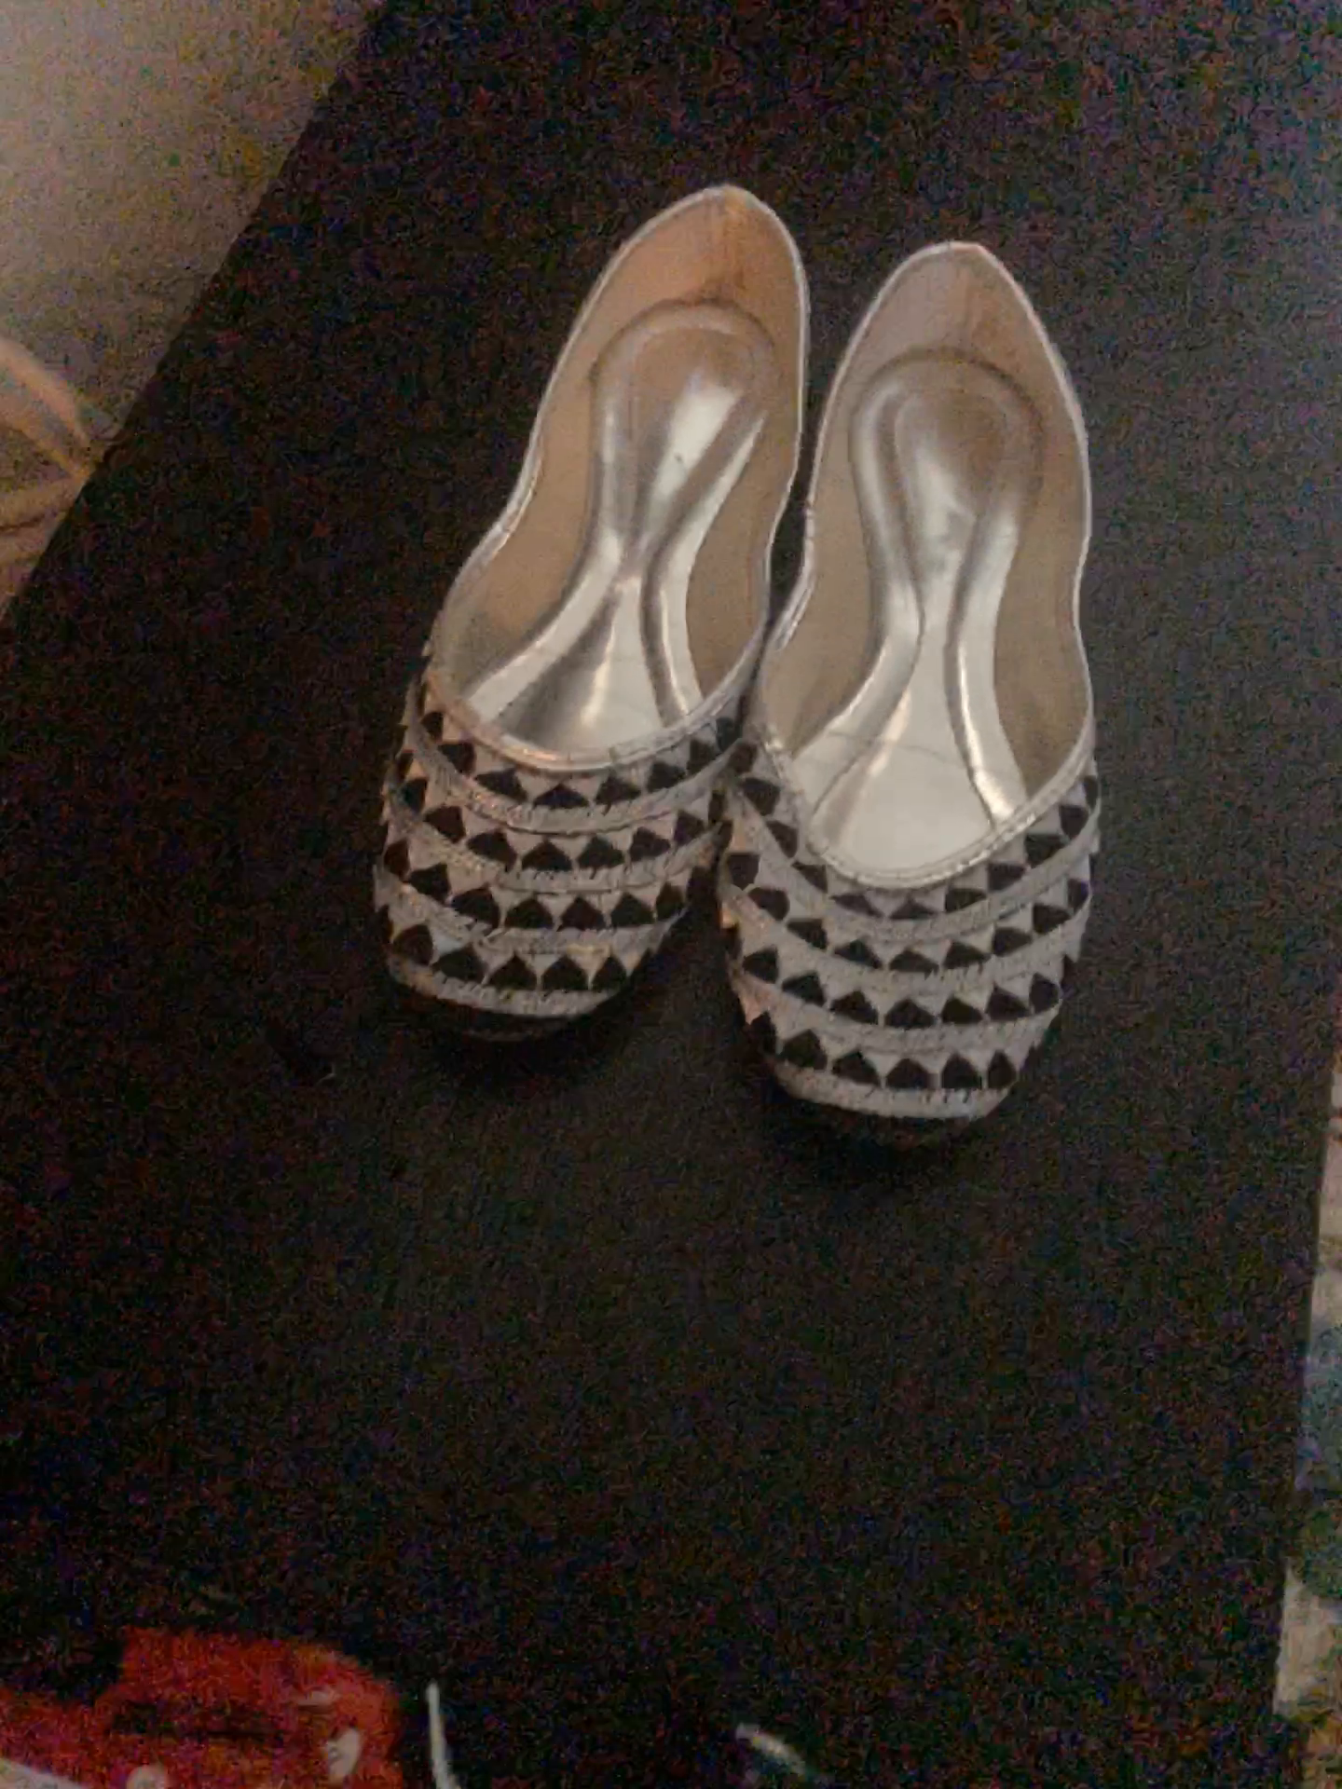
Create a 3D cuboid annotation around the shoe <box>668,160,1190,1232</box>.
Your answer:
[{"bbox_3d":[0.071,-0.063,0.357,0.095,0.070,0.271,10,65,4],"label":"shoe"}]

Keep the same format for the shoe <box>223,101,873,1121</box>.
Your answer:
[{"bbox_3d":[-0.018,-0.087,0.372,0.095,0.070,0.271,11,65,5],"label":"shoe"}]
